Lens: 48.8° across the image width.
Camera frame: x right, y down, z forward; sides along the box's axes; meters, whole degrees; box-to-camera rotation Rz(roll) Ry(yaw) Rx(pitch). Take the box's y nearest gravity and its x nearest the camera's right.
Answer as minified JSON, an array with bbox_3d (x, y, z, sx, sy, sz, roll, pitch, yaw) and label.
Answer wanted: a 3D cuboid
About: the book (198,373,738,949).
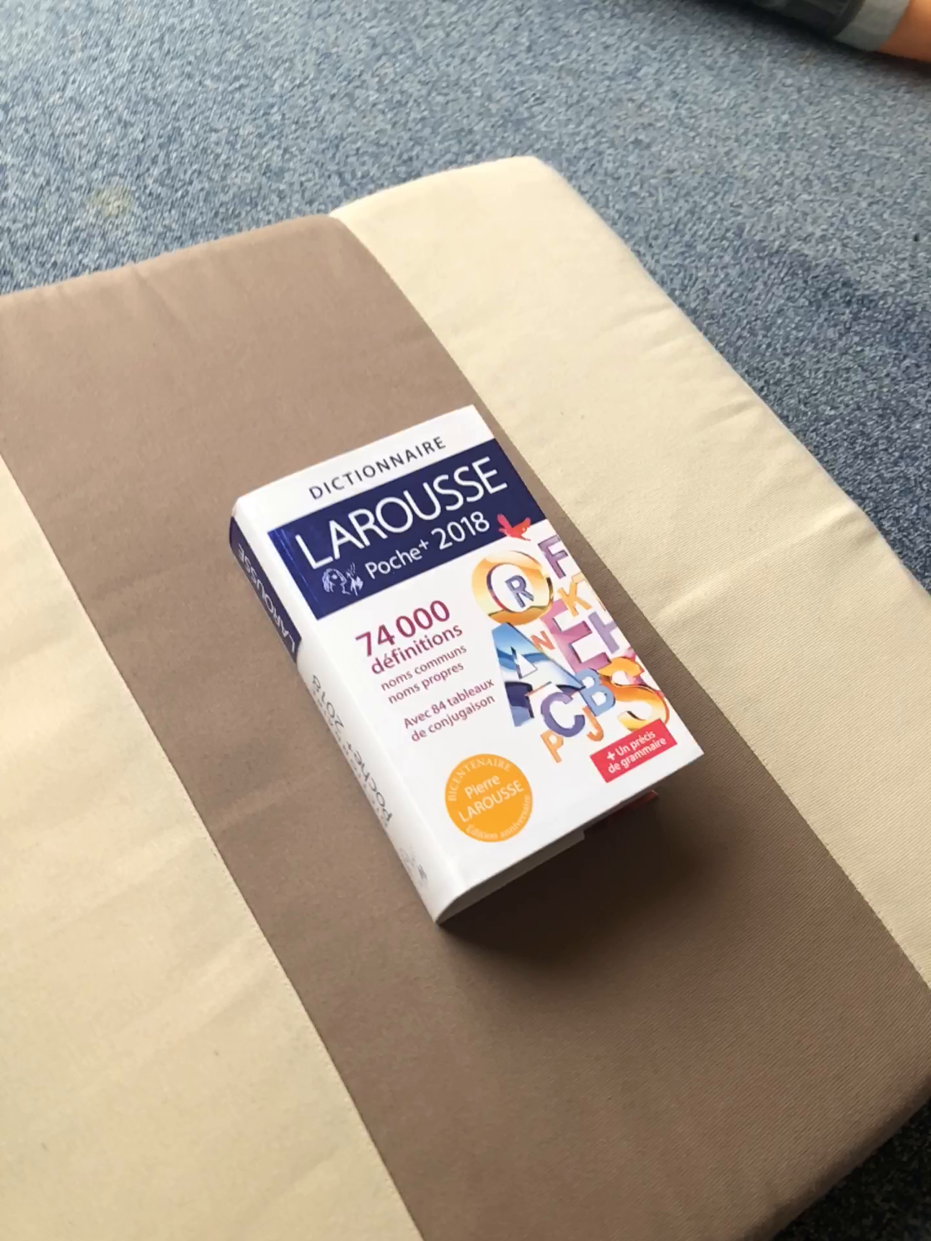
[{"bbox_3d":[-0.006,0.008,0.427,0.131,0.060,0.200,-24,69,-22],"label":"book"}]
